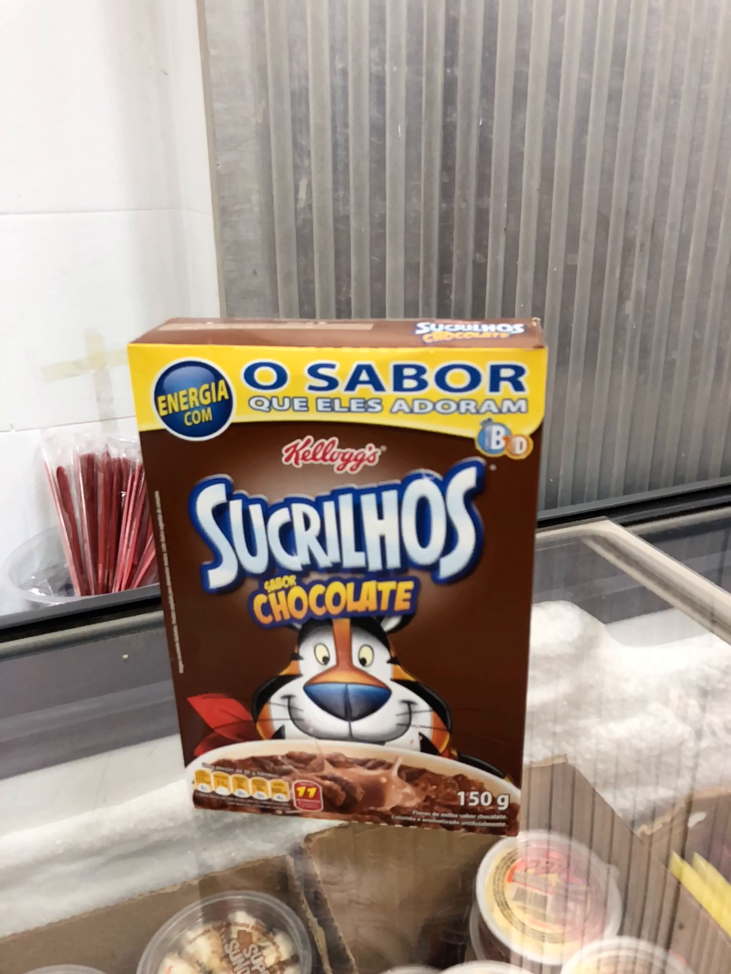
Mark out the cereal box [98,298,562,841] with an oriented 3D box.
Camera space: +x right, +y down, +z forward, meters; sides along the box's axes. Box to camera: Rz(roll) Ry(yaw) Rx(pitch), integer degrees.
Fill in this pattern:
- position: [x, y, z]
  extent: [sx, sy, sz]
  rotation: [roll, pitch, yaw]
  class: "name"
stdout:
- position: [-0.010, 0.036, 0.320]
  extent: [0.150, 0.209, 0.050]
  rotation: [2, 23, 7]
  class: "cereal box"
